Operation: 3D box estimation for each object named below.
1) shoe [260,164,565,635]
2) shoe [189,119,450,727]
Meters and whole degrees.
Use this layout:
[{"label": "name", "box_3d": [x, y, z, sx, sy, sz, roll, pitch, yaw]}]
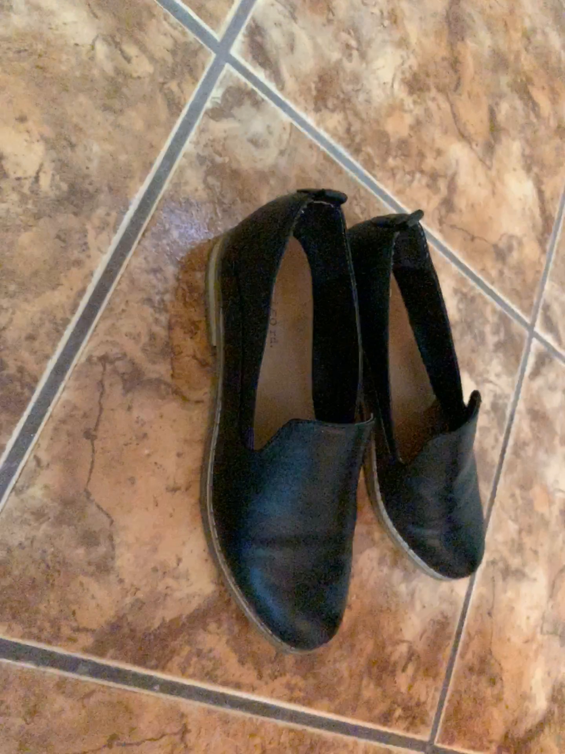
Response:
[{"label": "shoe", "box_3d": [0.088, 0.015, 0.359, 0.088, 0.070, 0.255, -29, 102, -34]}, {"label": "shoe", "box_3d": [0.017, 0.017, 0.297, 0.086, 0.070, 0.255, -3, 86, -35]}]
